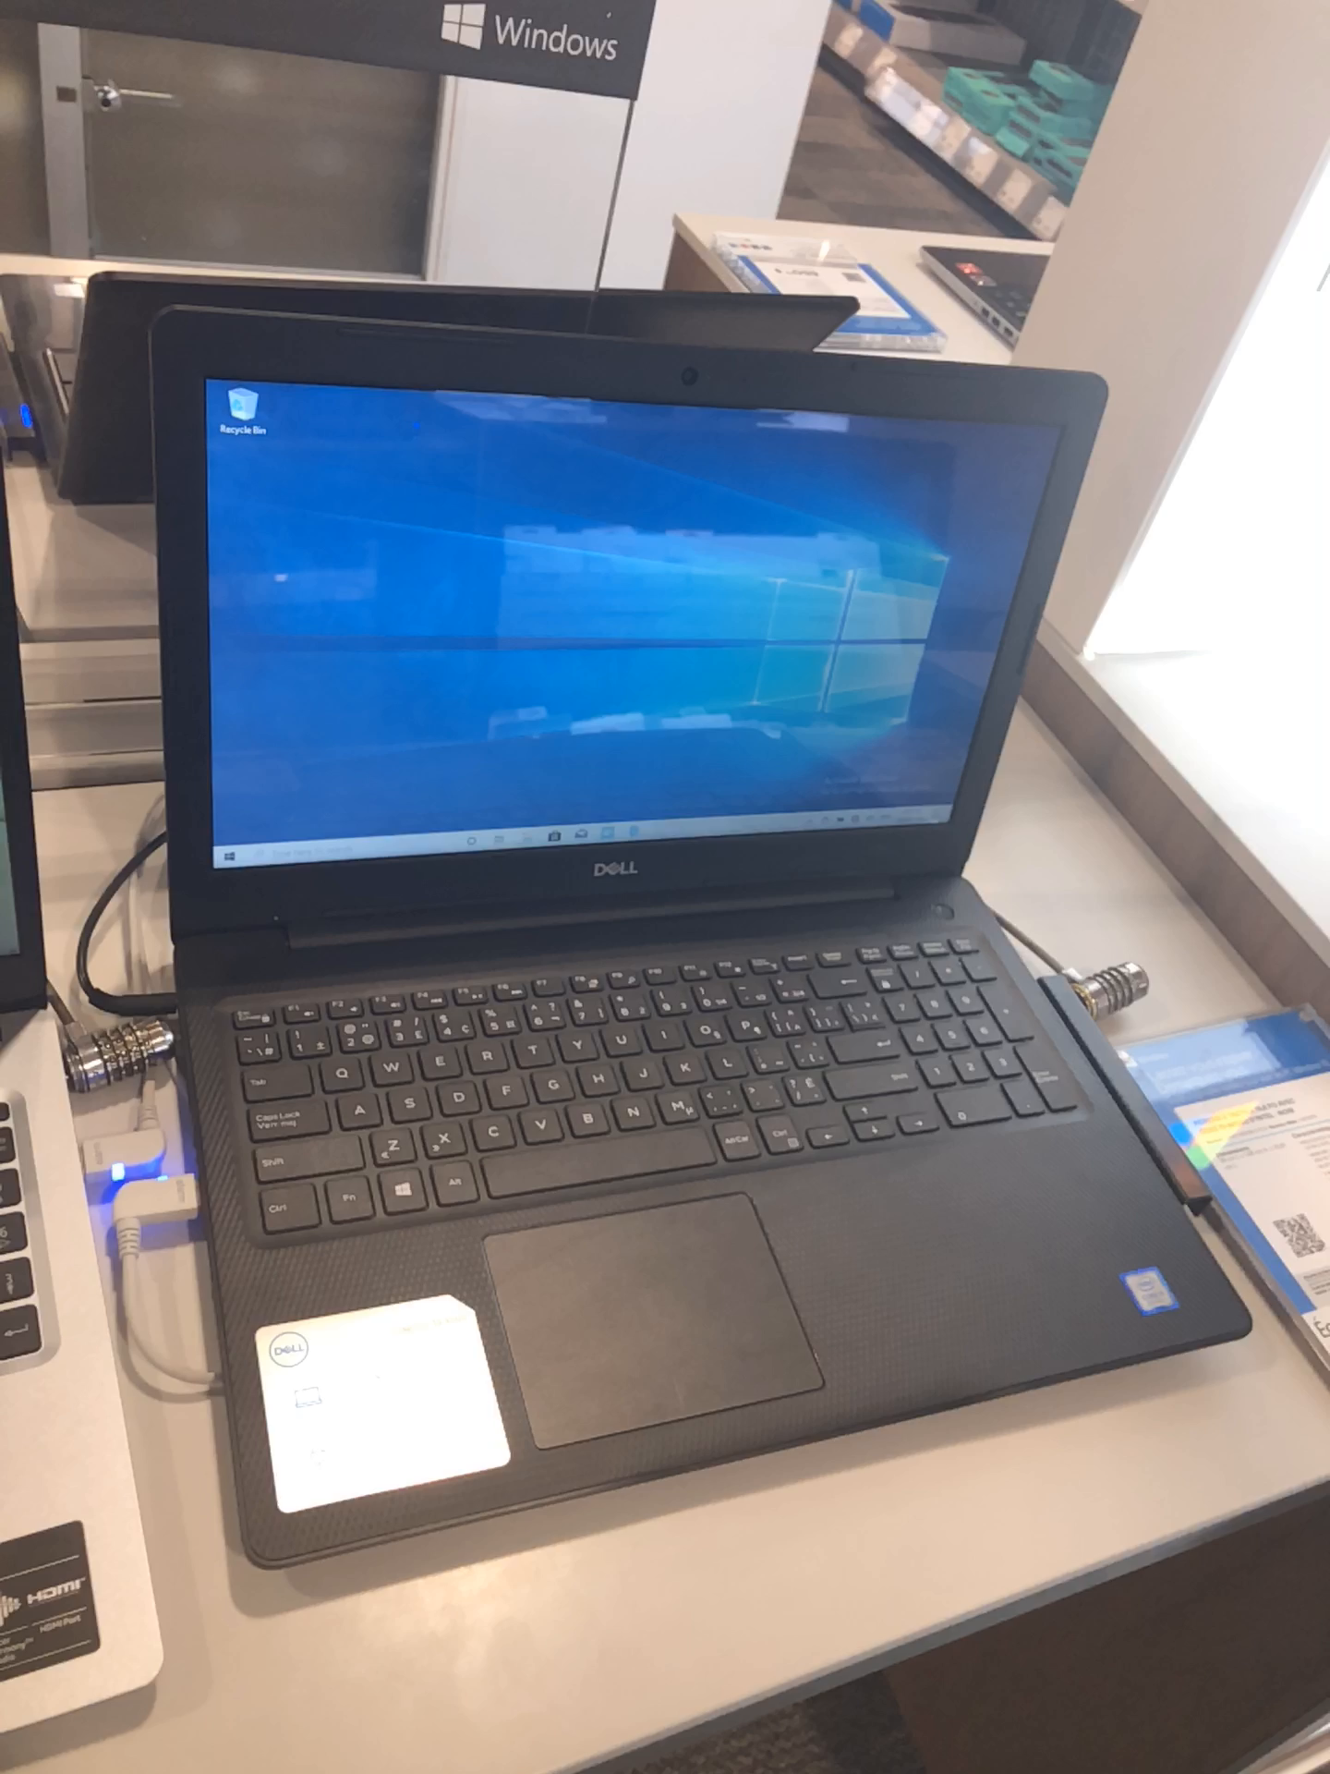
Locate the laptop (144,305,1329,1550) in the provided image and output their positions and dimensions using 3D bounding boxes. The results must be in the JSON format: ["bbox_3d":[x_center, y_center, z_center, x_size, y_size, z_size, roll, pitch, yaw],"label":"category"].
[{"bbox_3d":[0.027,-0.010,0.520,0.368,0.230,0.310,-4,46,-22],"label":"laptop"}]
